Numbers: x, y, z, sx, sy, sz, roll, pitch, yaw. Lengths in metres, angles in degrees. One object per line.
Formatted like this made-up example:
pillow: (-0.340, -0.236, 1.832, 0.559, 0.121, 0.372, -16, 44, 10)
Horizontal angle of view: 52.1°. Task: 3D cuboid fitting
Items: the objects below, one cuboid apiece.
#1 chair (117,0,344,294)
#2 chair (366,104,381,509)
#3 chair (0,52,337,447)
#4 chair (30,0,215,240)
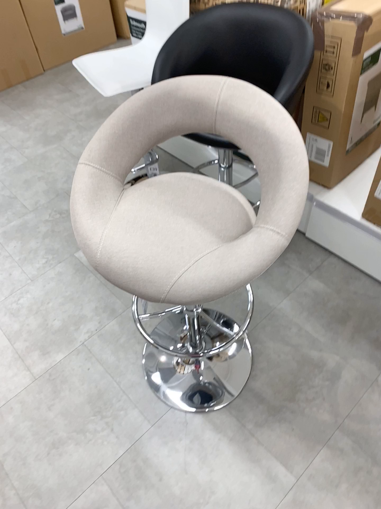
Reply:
chair: (0.155, -0.400, 1.532, 0.496, 0.938, 0.486, 30, 58, 27)
chair: (0.970, 0.258, 0.953, 0.575, 0.909, 0.538, -24, 51, -15)
chair: (-0.011, 0.060, 1.132, 0.486, 0.978, 0.466, 30, 58, 27)
chair: (-0.242, -0.670, 1.773, 0.484, 1.008, 0.538, -24, 51, -15)
